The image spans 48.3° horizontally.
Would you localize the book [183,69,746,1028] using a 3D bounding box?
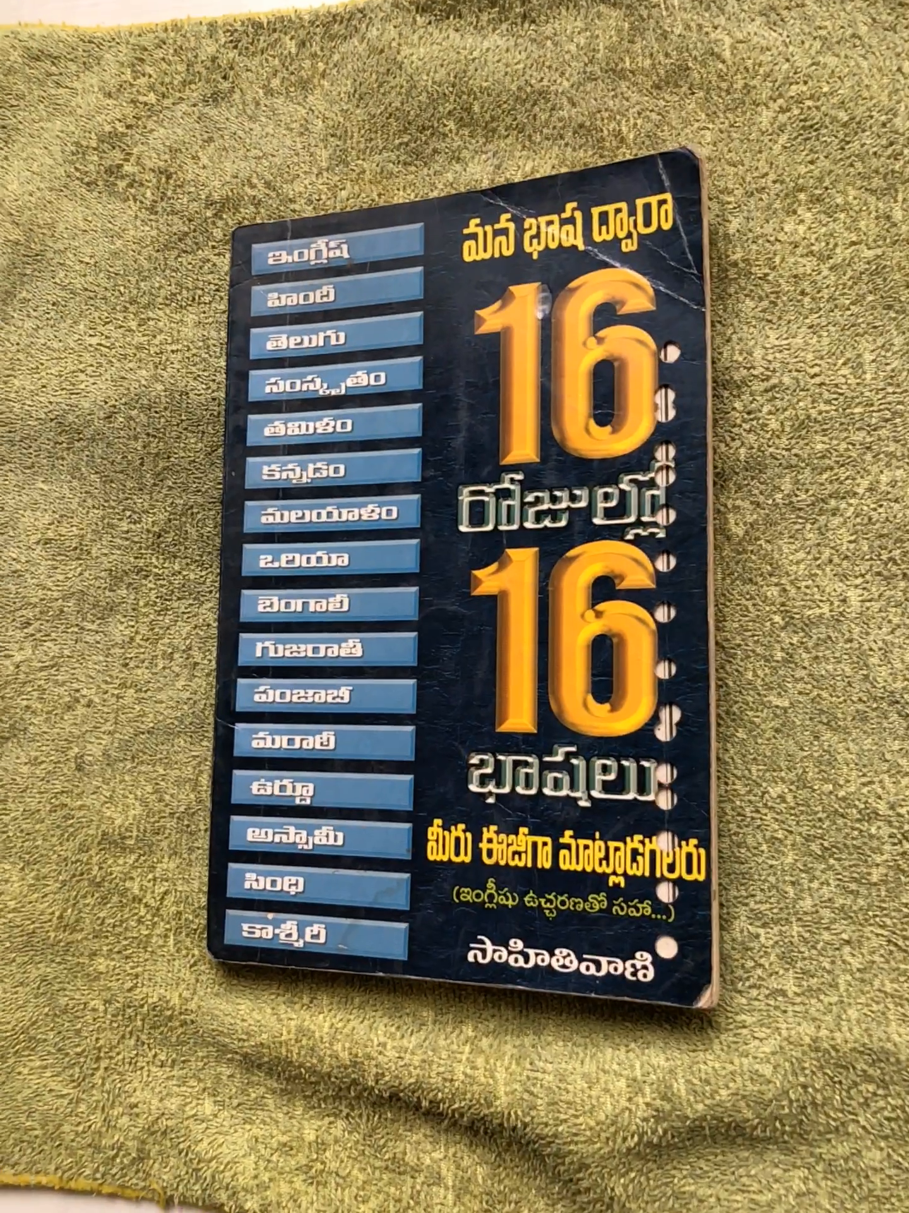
[{"bbox_3d":[0.002,-0.016,0.268,0.140,0.030,0.220,-1,83,20],"label":"book"}]
